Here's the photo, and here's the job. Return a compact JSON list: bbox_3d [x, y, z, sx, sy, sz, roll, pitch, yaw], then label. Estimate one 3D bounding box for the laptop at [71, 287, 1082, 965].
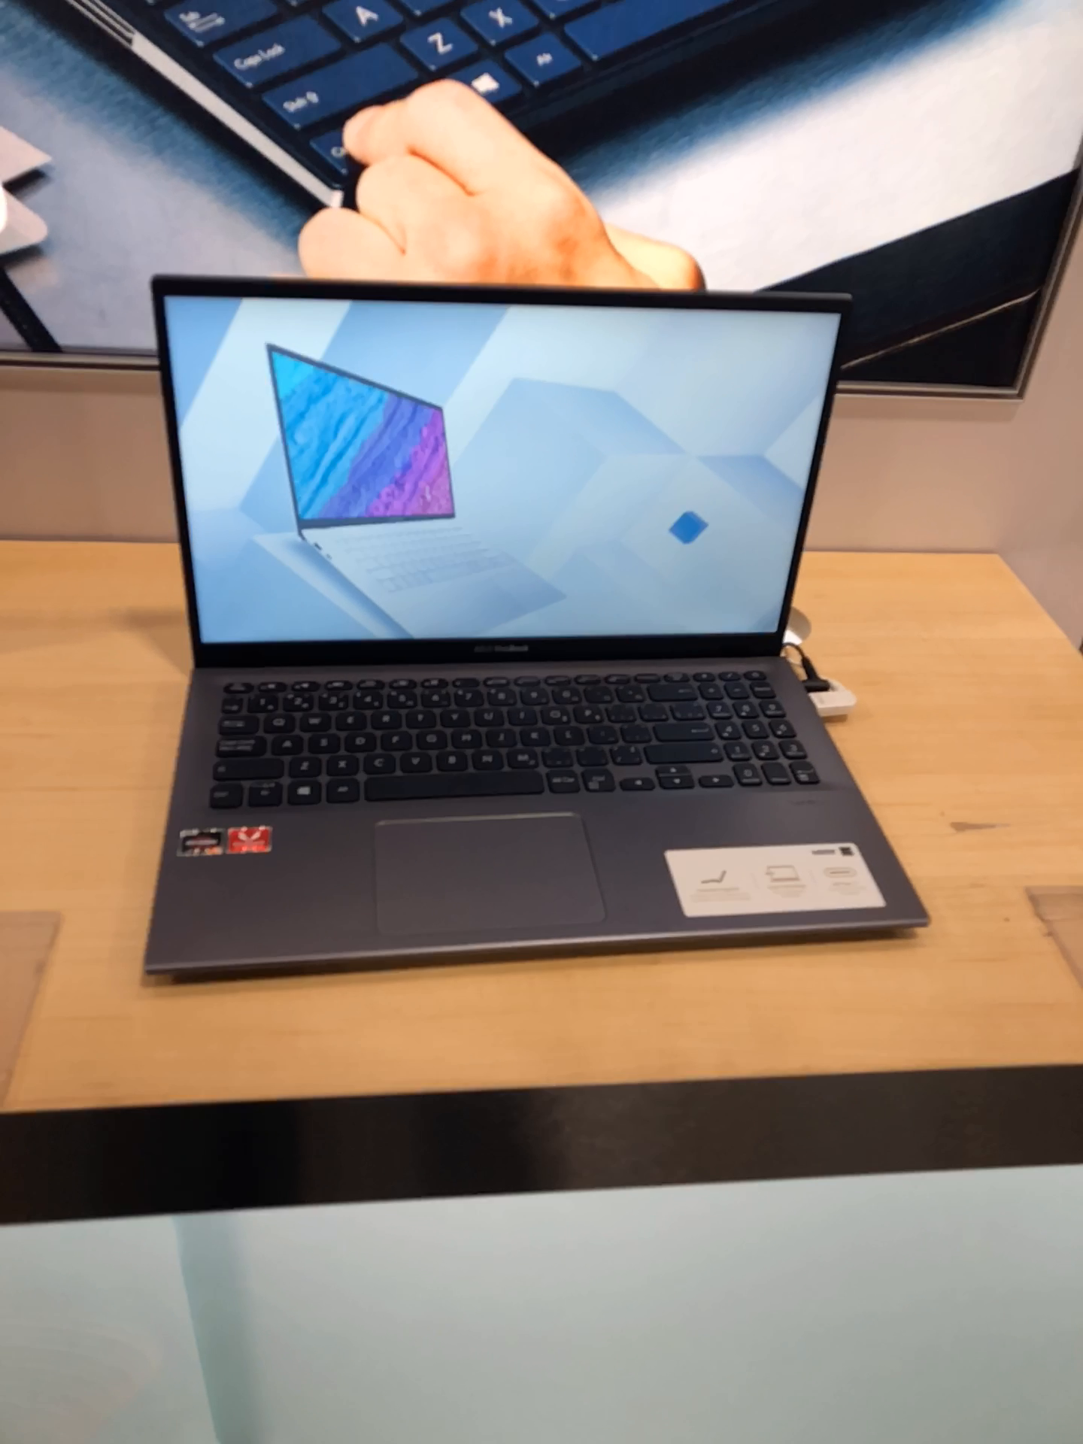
[{"bbox_3d":[0.000,-0.057,0.554,0.349,0.211,0.243,-1,36,-9],"label":"laptop"}]
